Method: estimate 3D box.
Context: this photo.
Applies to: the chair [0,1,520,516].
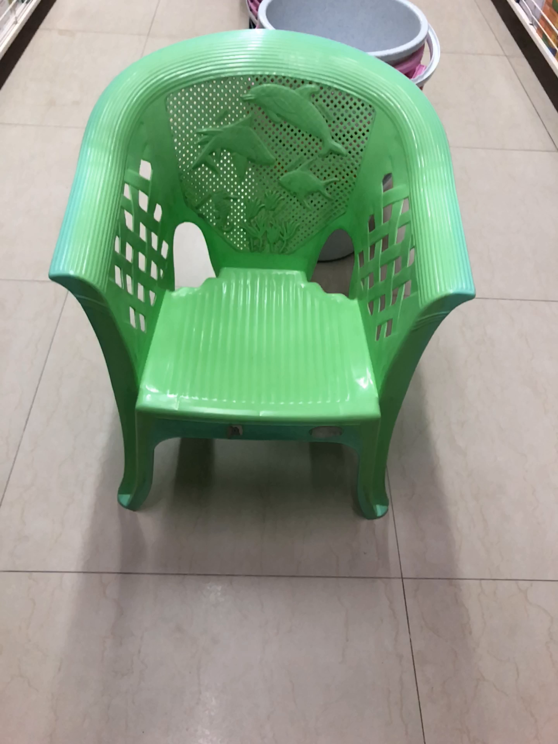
[{"bbox_3d":[-0.042,-0.137,0.761,0.430,0.397,0.473,2,50,-2],"label":"chair"}]
